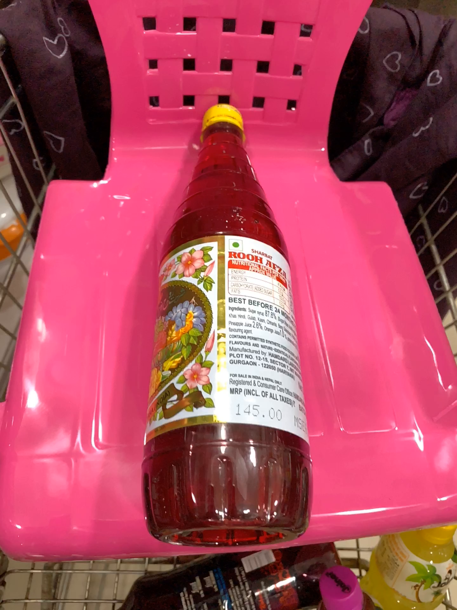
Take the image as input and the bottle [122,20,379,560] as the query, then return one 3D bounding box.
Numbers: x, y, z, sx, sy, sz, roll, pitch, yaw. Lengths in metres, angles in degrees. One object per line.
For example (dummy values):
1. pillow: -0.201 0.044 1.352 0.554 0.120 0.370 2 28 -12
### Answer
1. bottle: 0.005 -0.021 0.239 0.080 0.060 0.260 10 61 -19
